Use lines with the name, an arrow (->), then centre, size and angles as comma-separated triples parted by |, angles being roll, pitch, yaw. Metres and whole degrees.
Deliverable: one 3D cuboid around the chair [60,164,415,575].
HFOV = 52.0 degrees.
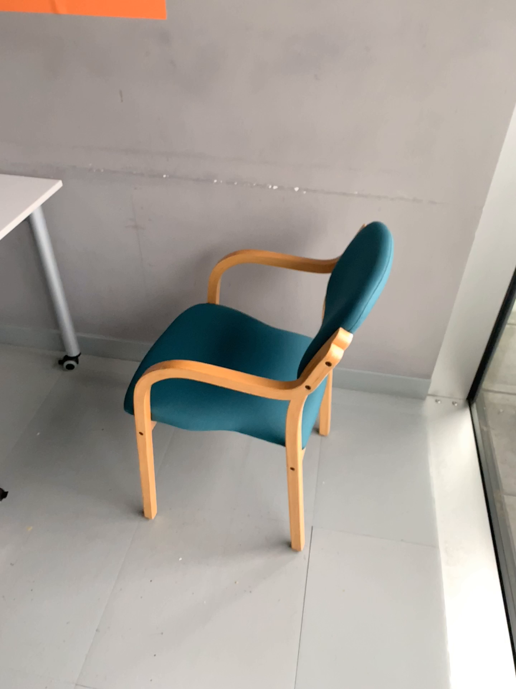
chair -> 0.017, 0.033, 1.407 | 0.640, 0.723, 0.687 | 9, 40, 10
